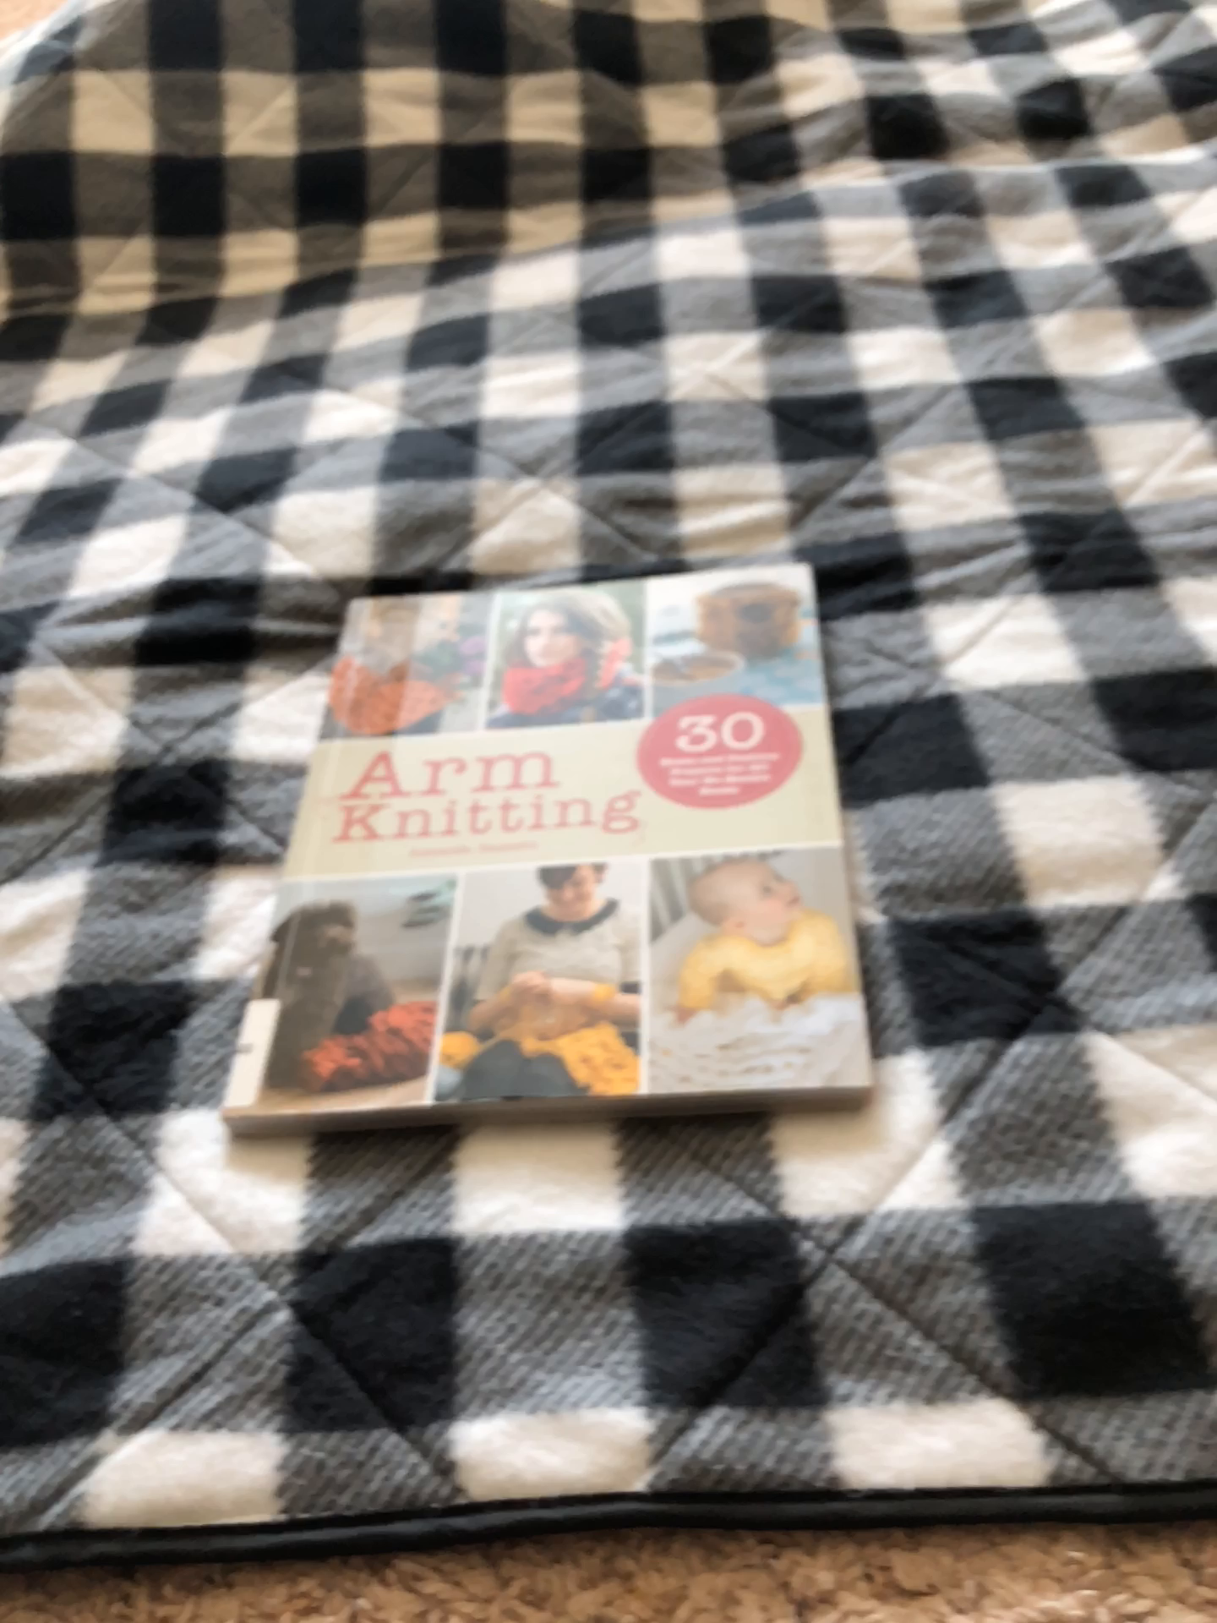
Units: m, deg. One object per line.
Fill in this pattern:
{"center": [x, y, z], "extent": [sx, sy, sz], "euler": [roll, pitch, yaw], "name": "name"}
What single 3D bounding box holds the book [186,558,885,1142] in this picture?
{"center": [-0.018, -0.001, 0.467], "extent": [0.196, 0.020, 0.239], "euler": [-4, 45, 7], "name": "book"}
